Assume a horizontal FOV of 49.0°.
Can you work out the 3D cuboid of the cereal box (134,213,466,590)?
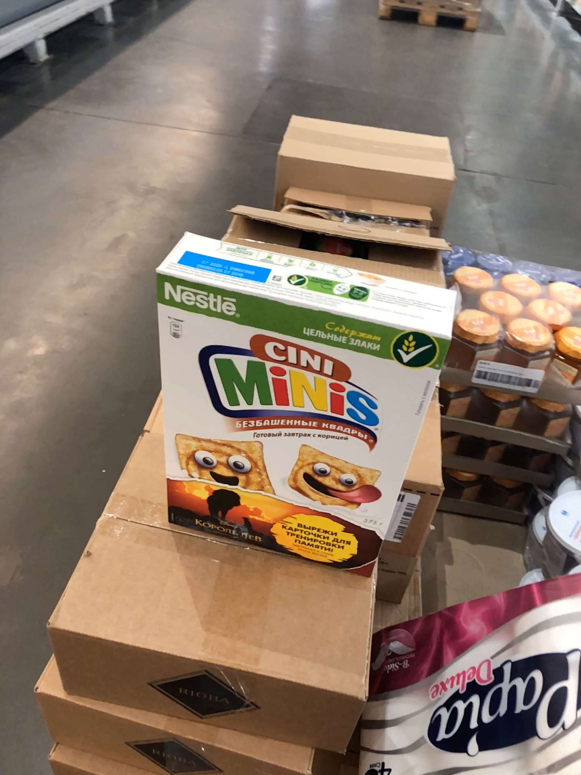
[{"bbox_3d":[-0.003,0.027,0.491,0.200,0.278,0.060,14,42,9],"label":"cereal box"}]
